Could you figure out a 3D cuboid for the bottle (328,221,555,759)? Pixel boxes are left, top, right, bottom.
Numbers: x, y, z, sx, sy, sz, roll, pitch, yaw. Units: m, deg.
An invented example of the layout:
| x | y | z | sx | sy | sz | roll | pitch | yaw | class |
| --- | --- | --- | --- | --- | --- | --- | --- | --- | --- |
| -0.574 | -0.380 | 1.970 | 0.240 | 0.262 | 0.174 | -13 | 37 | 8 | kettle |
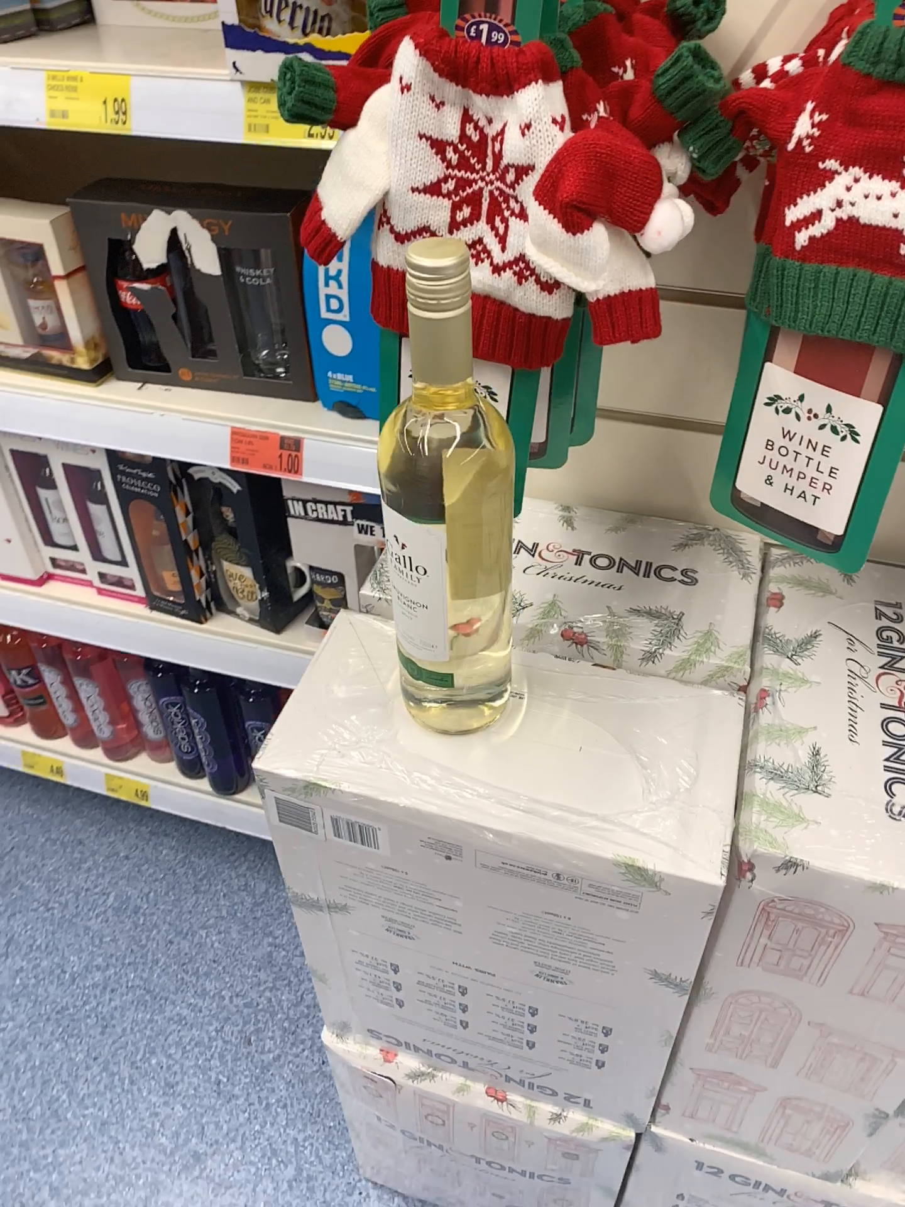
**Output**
| x | y | z | sx | sy | sz | roll | pitch | yaw | class |
| --- | --- | --- | --- | --- | --- | --- | --- | --- | --- |
| -0.003 | -0.047 | 0.512 | 0.073 | 0.285 | 0.073 | -1 | 41 | 1 | bottle |
